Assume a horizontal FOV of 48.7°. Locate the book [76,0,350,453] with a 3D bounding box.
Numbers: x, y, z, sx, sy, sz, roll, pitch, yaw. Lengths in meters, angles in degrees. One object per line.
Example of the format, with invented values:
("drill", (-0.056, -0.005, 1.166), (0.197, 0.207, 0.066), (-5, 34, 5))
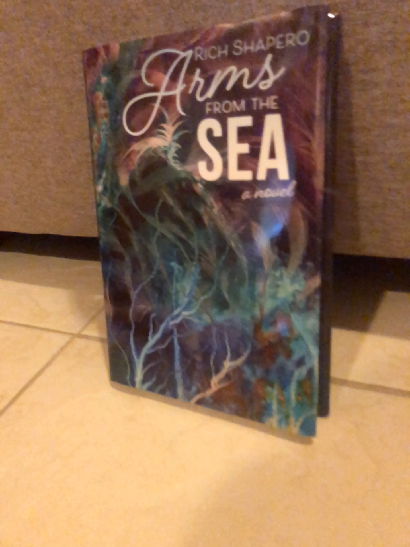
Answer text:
("book", (0.000, -0.022, 0.277), (0.156, 0.228, 0.030), (6, 15, 29))
